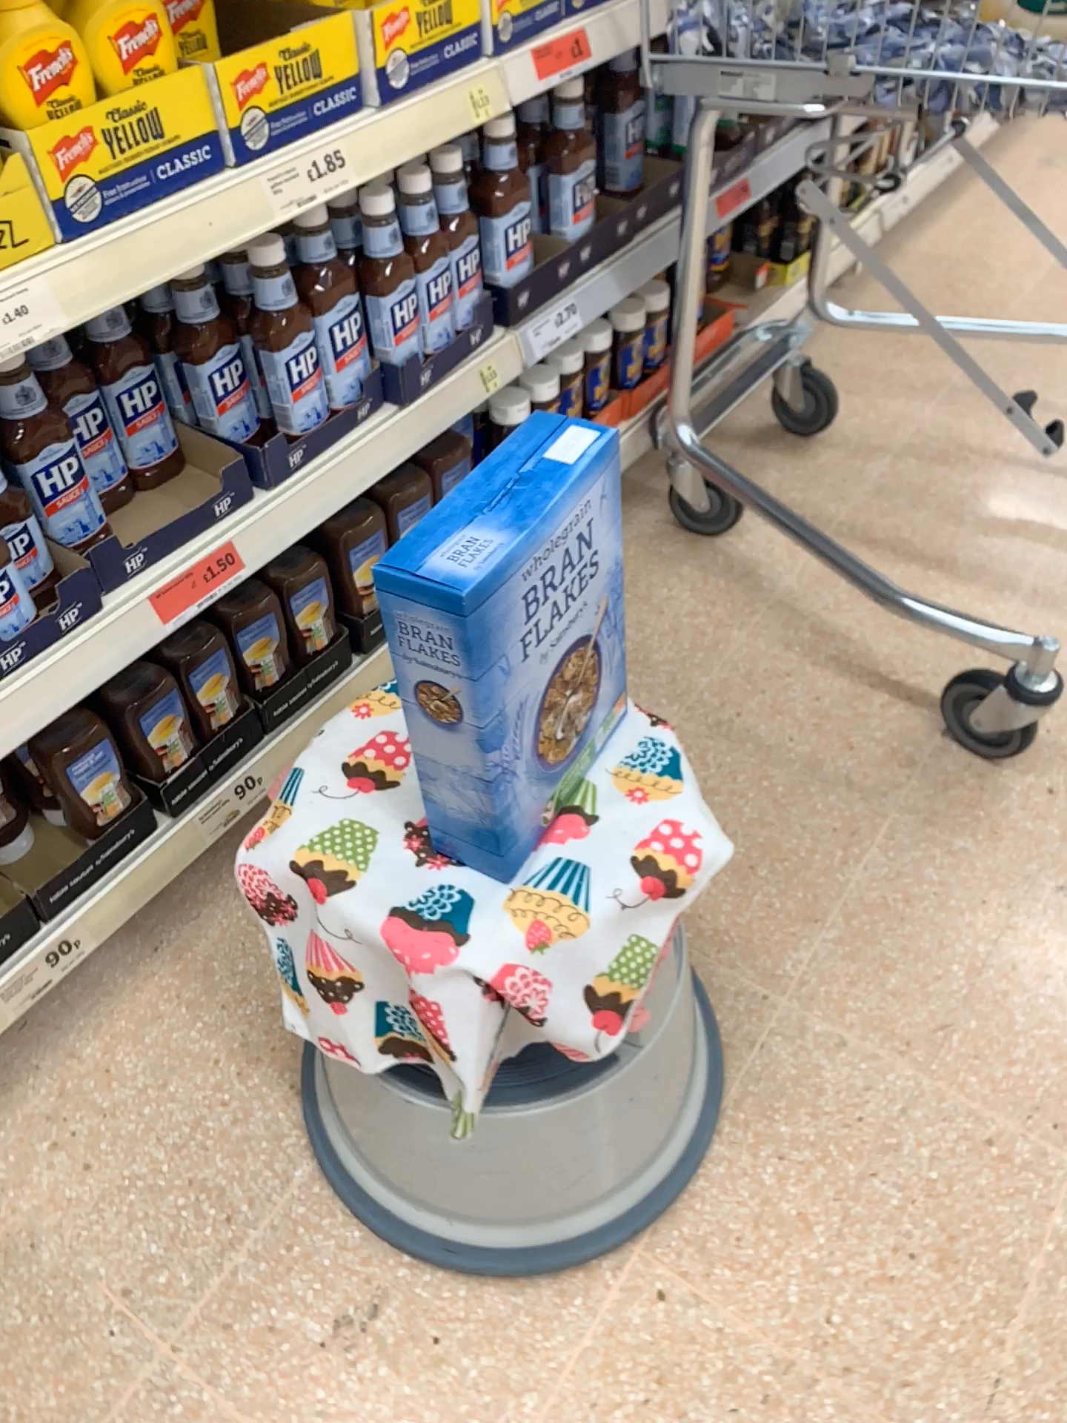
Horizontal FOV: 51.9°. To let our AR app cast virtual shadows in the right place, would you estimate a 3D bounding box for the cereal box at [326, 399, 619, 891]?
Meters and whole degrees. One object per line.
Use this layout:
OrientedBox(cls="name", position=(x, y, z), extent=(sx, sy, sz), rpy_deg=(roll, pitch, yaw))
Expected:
OrientedBox(cls="cereal box", position=(-0.024, -0.045, 0.766), extent=(0.080, 0.258, 0.211), rpy_deg=(18, 49, 23))
